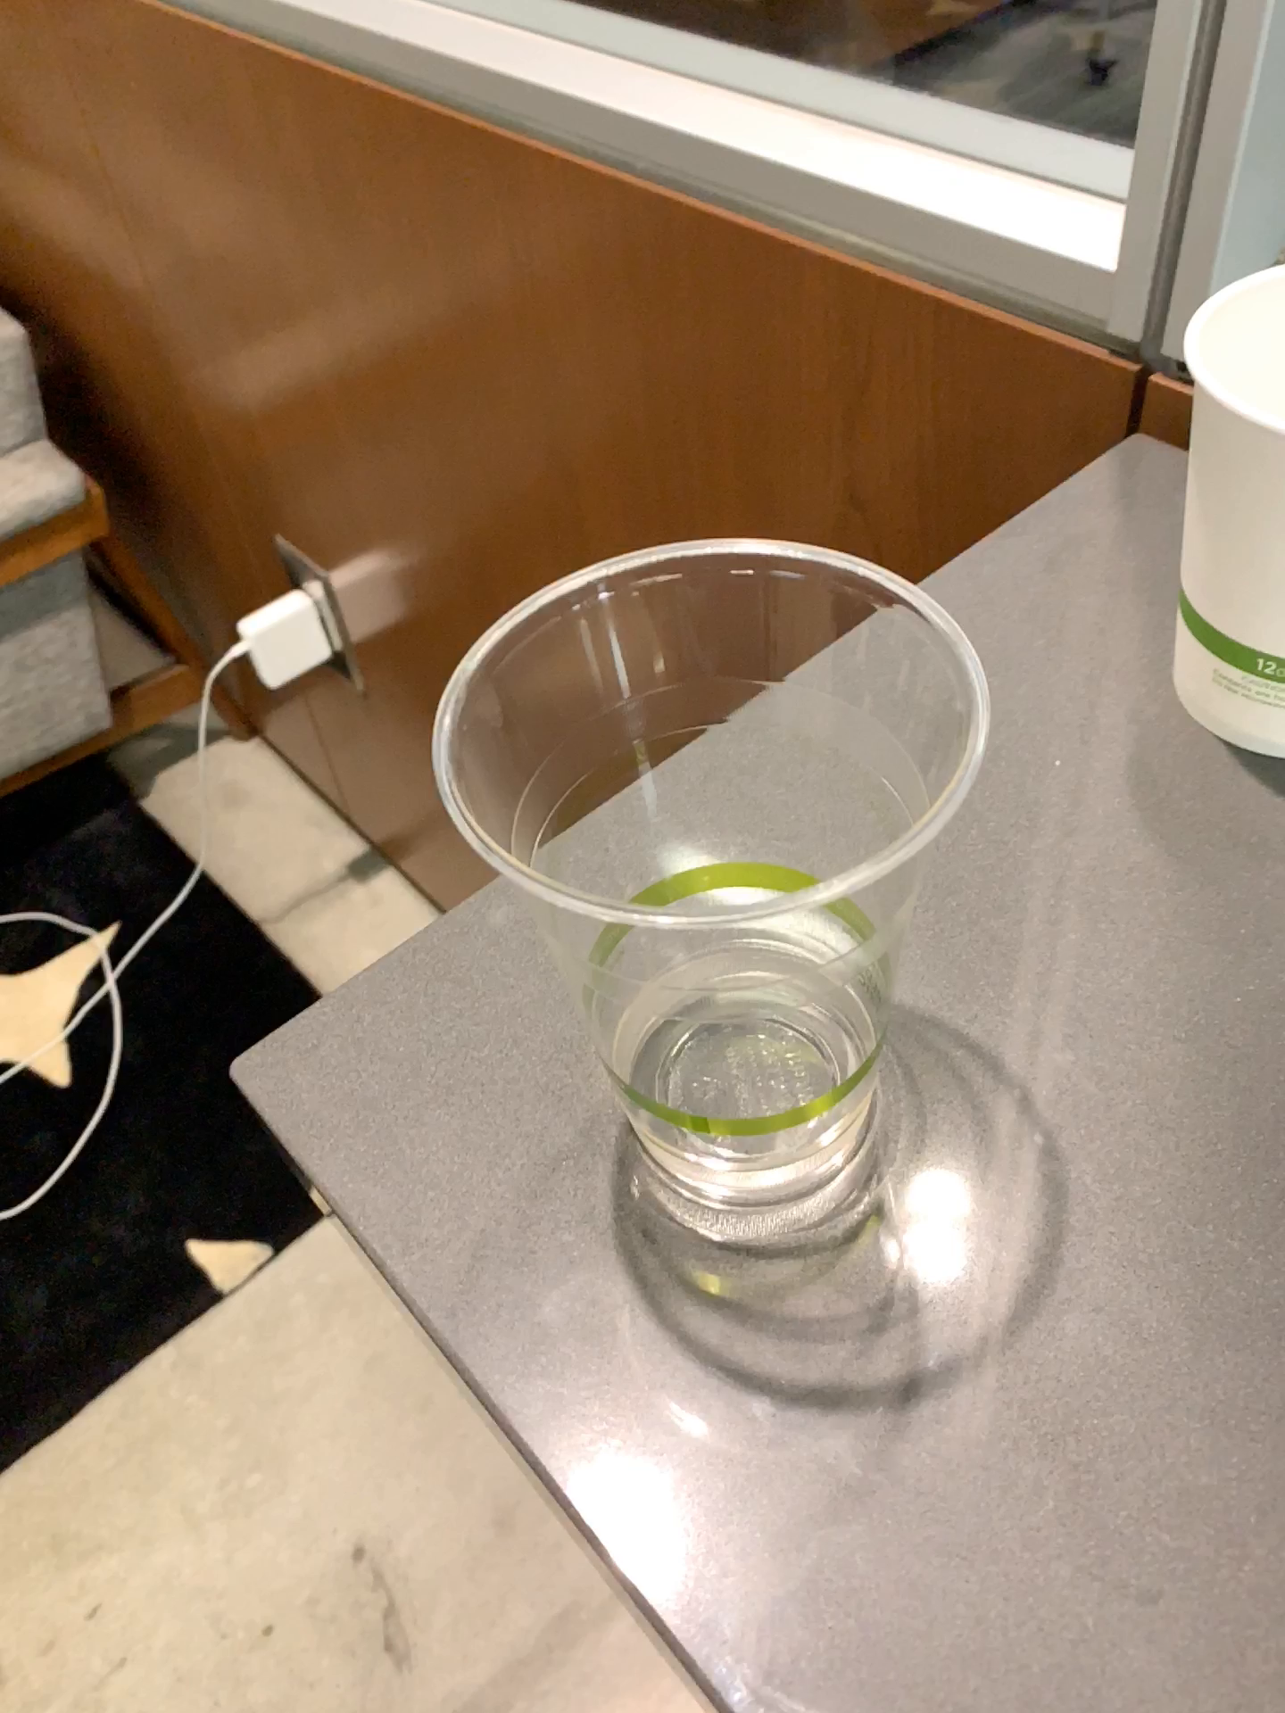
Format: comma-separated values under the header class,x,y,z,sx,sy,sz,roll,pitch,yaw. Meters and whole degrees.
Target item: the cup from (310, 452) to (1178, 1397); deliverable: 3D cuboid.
class,x,y,z,sx,sy,sz,roll,pitch,yaw
cup,0.022,0.012,0.259,0.100,0.119,0.100,-4,48,4
